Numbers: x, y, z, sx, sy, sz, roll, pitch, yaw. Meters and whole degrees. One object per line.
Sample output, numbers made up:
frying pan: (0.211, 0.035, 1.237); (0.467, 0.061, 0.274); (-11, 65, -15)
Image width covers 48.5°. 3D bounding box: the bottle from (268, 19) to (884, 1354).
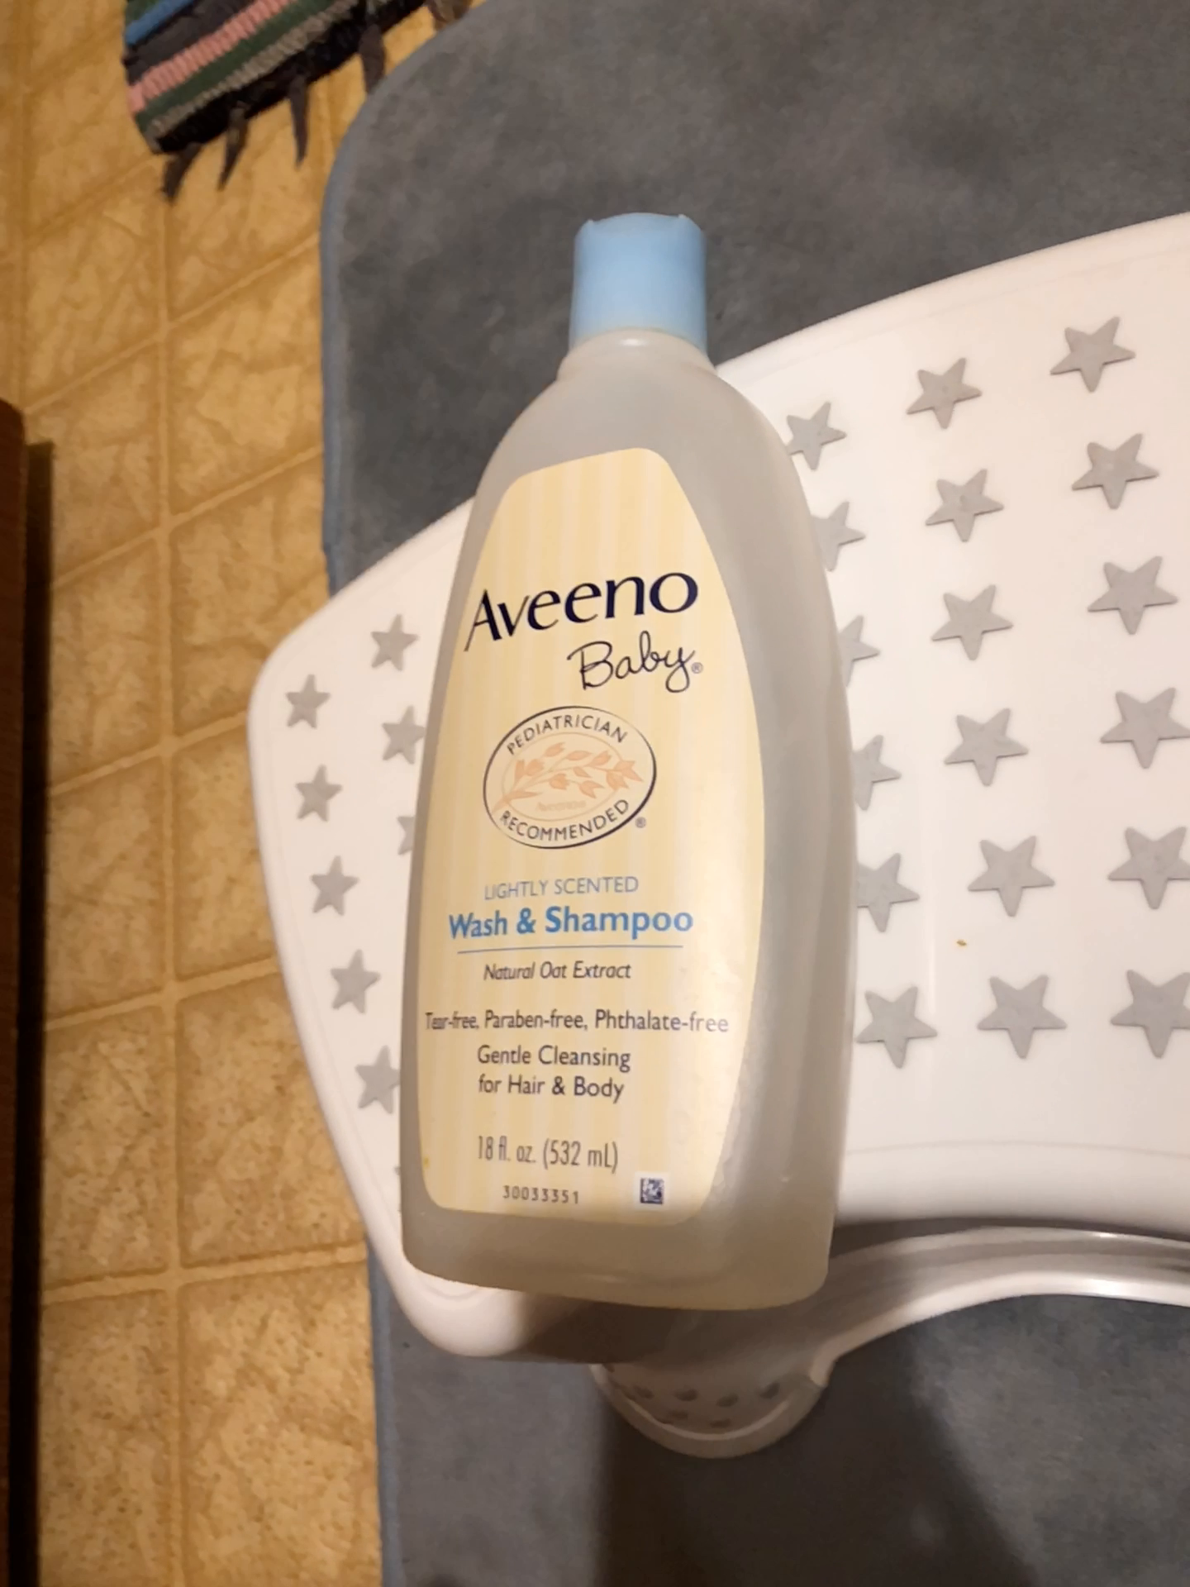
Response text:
bottle: (0.001, -0.025, 0.266); (0.100, 0.040, 0.240); (-5, 73, 30)
